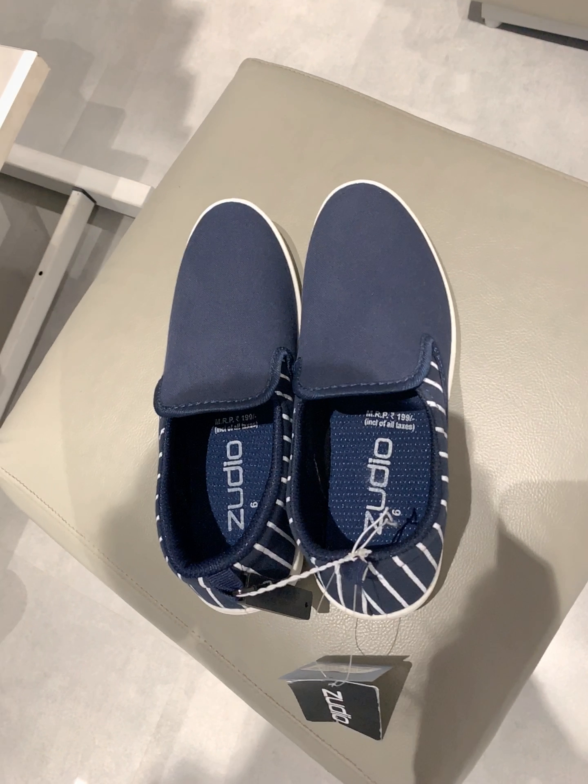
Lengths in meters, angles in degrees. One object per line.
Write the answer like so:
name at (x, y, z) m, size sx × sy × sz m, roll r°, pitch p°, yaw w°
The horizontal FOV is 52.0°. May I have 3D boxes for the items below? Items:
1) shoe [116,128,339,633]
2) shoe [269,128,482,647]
shoe at (-0.043, -0.006, 0.379) m, size 0.100 × 0.090 × 0.280 m, roll -8°, pitch 75°, yaw 13°
shoe at (0.049, -0.003, 0.358) m, size 0.100 × 0.090 × 0.270 m, roll -3°, pitch 76°, yaw 14°
